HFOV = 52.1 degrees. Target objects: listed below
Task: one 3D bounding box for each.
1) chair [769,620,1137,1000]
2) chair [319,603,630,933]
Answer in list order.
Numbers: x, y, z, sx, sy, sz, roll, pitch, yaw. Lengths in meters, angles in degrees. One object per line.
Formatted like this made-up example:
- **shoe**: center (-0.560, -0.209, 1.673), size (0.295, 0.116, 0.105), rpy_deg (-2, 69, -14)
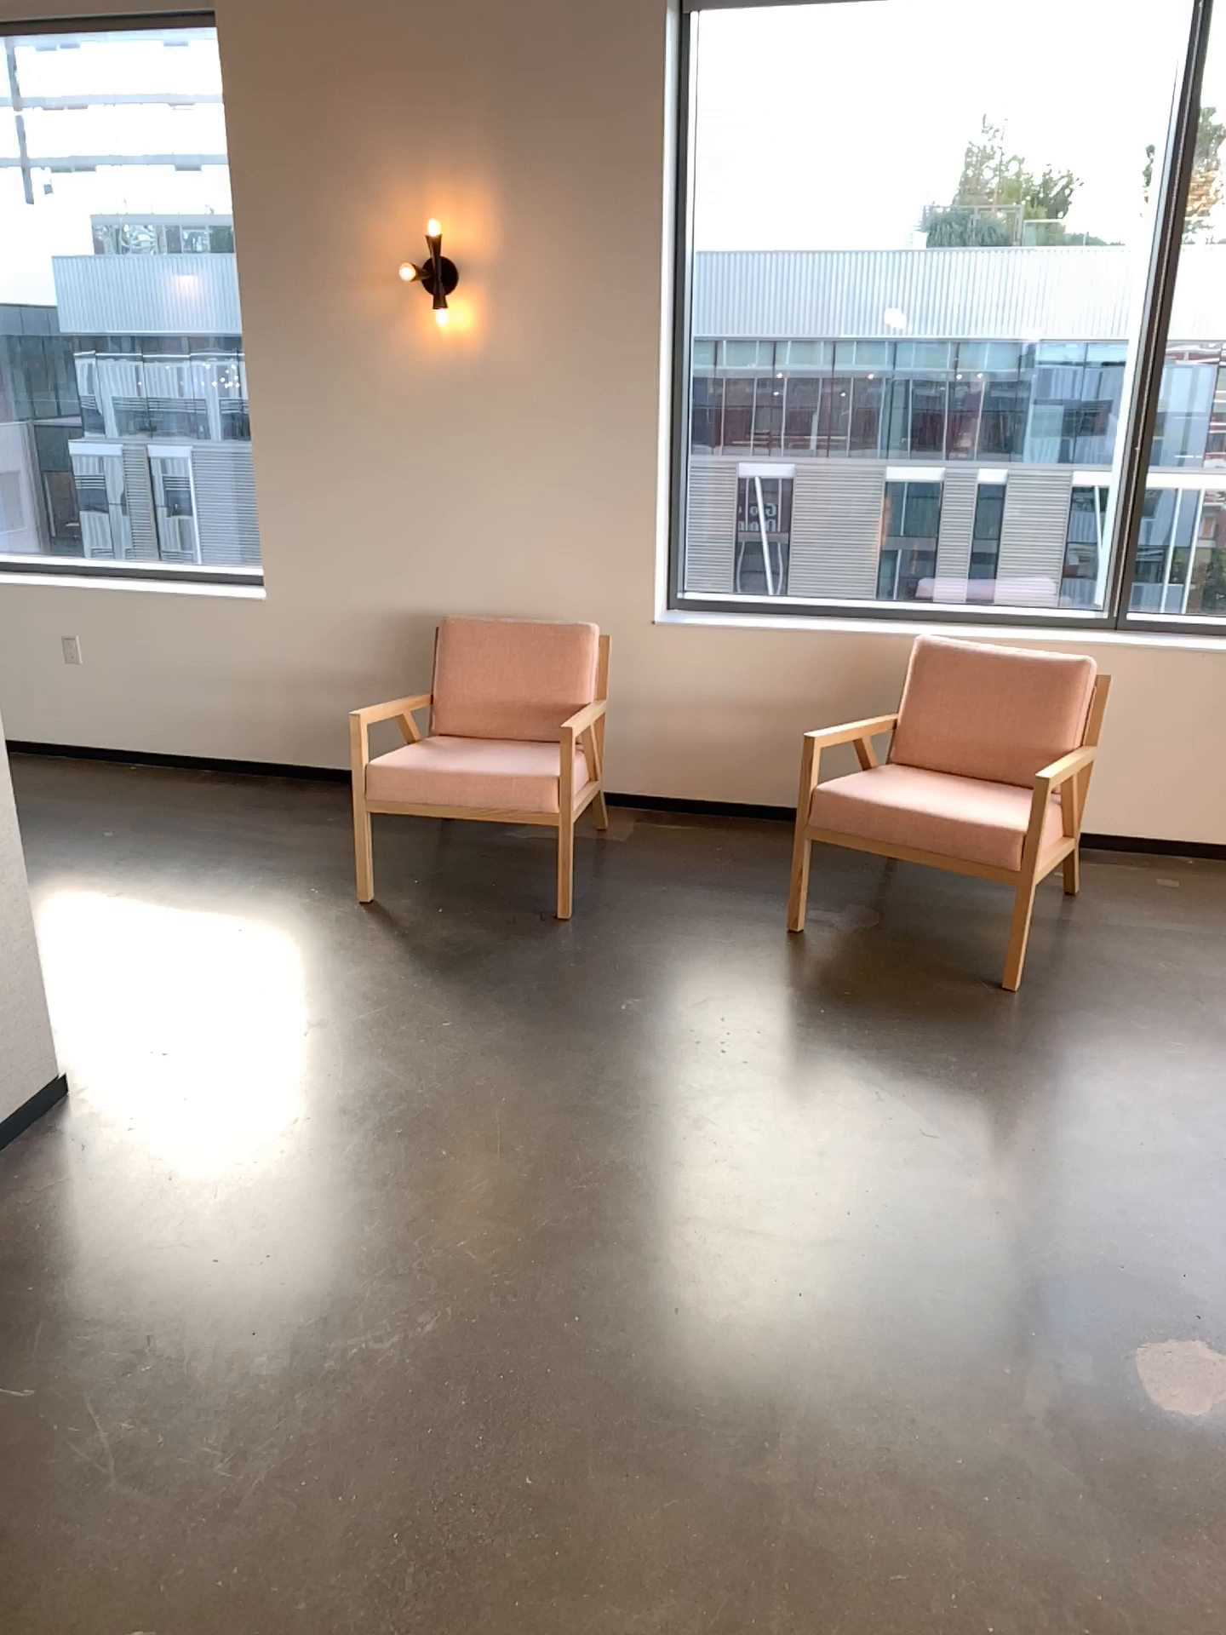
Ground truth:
- **chair**: center (0.981, -0.079, 3.629), size (0.742, 0.796, 0.771), rpy_deg (13, 22, 31)
- **chair**: center (-0.393, -0.196, 3.988), size (0.741, 0.796, 0.773), rpy_deg (5, 21, 12)
